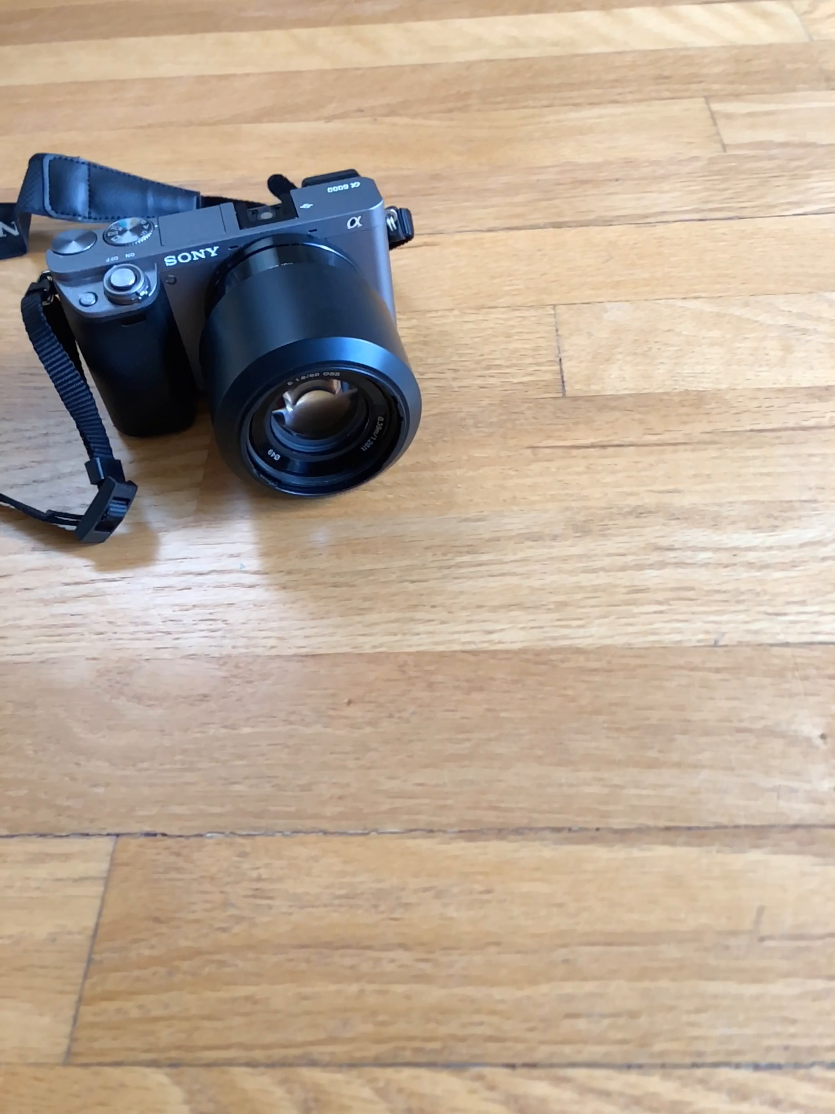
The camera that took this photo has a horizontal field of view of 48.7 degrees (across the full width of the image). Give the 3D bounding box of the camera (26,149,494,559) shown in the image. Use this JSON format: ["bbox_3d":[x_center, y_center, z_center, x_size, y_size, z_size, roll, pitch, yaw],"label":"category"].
[{"bbox_3d":[-0.057,-0.077,0.330,0.140,0.060,0.111,-15,53,-7],"label":"camera"}]
